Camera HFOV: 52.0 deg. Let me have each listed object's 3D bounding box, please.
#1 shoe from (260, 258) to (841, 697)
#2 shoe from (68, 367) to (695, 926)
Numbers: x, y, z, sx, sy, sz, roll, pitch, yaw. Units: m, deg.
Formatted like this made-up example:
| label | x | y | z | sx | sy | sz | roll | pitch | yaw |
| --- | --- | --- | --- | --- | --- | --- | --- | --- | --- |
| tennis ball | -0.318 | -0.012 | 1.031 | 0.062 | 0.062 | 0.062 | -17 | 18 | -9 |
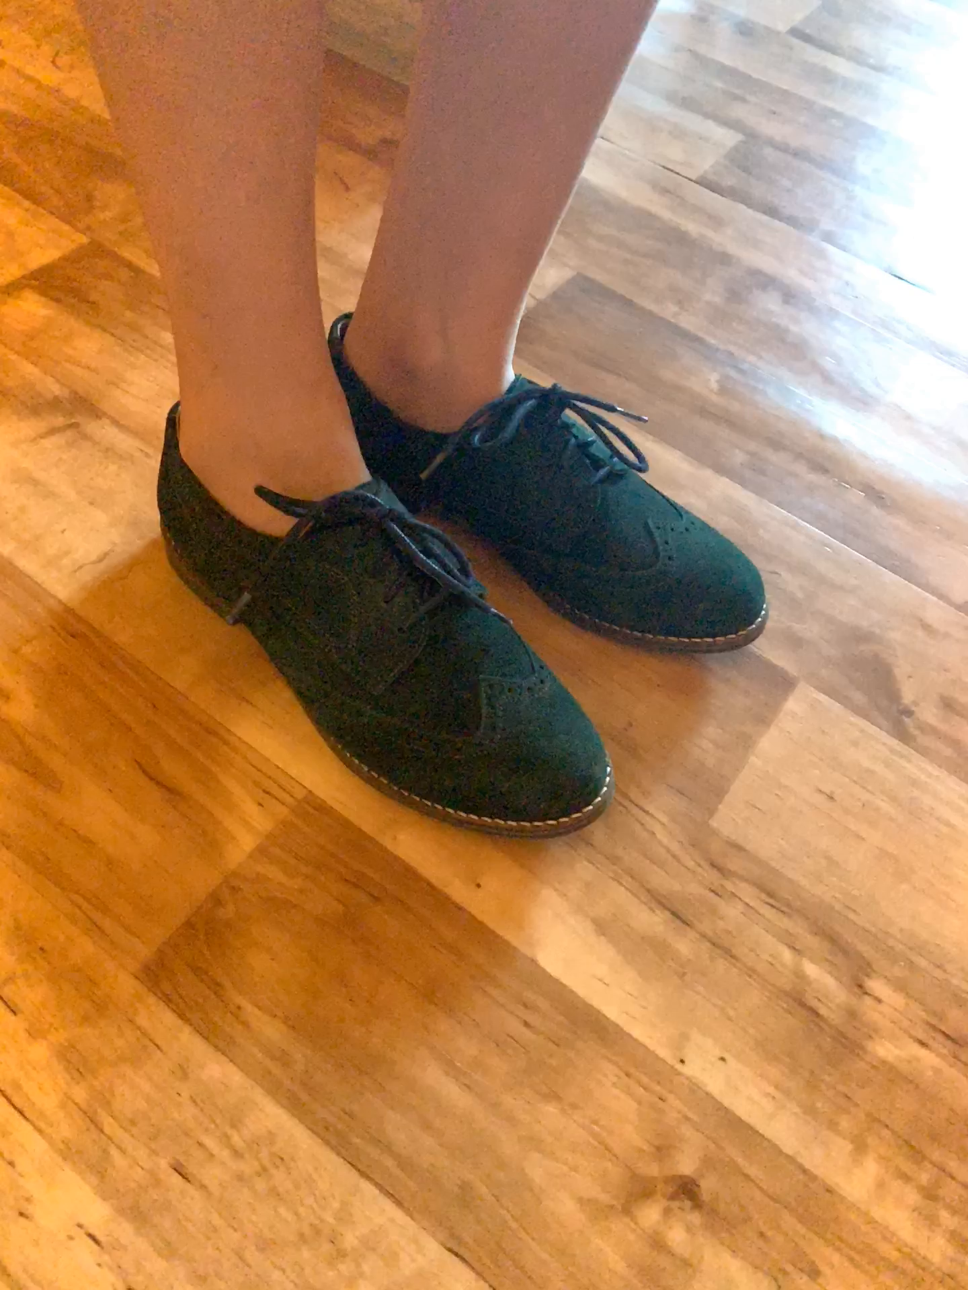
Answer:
| label | x | y | z | sx | sy | sz | roll | pitch | yaw |
| --- | --- | --- | --- | --- | --- | --- | --- | --- | --- |
| shoe | 0.028 | -0.085 | 0.486 | 0.250 | 0.080 | 0.100 | 25 | 55 | 8 |
| shoe | -0.051 | -0.007 | 0.437 | 0.260 | 0.080 | 0.090 | 36 | 58 | 16 |
